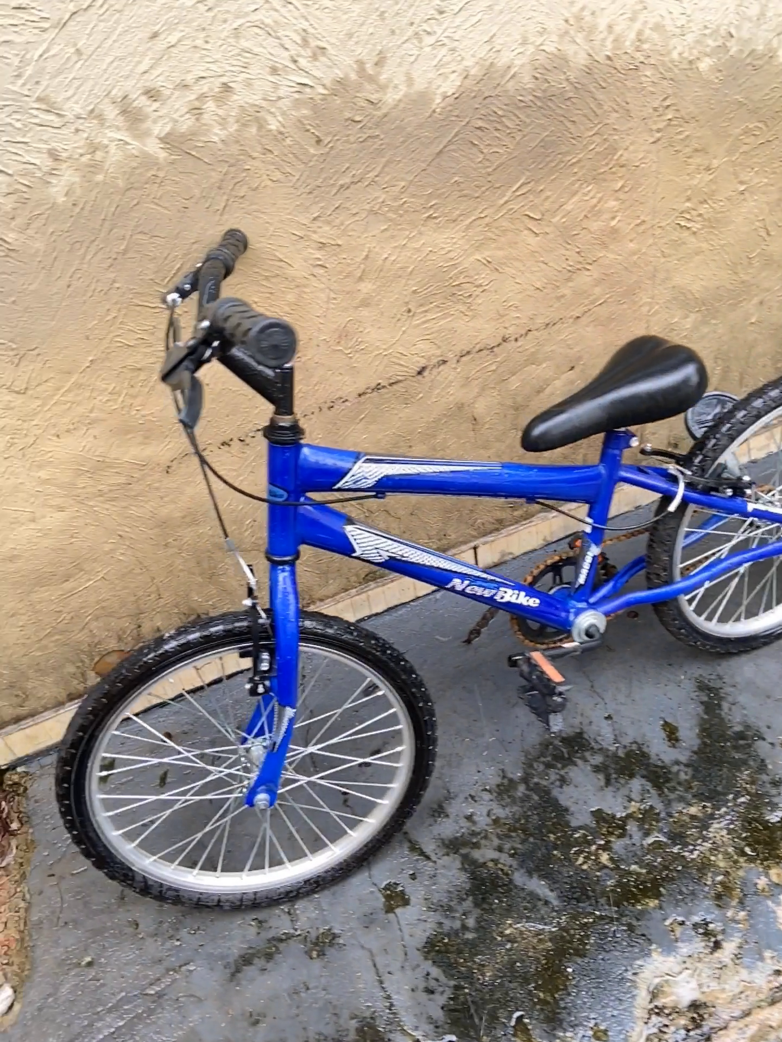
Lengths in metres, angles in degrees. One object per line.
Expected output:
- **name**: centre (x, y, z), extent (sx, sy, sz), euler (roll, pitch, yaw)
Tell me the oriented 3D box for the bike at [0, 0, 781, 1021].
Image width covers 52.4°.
- **bike**: centre (0.131, -0.076, 1.016), extent (1.250, 0.849, 0.545), euler (-20, 40, -14)
